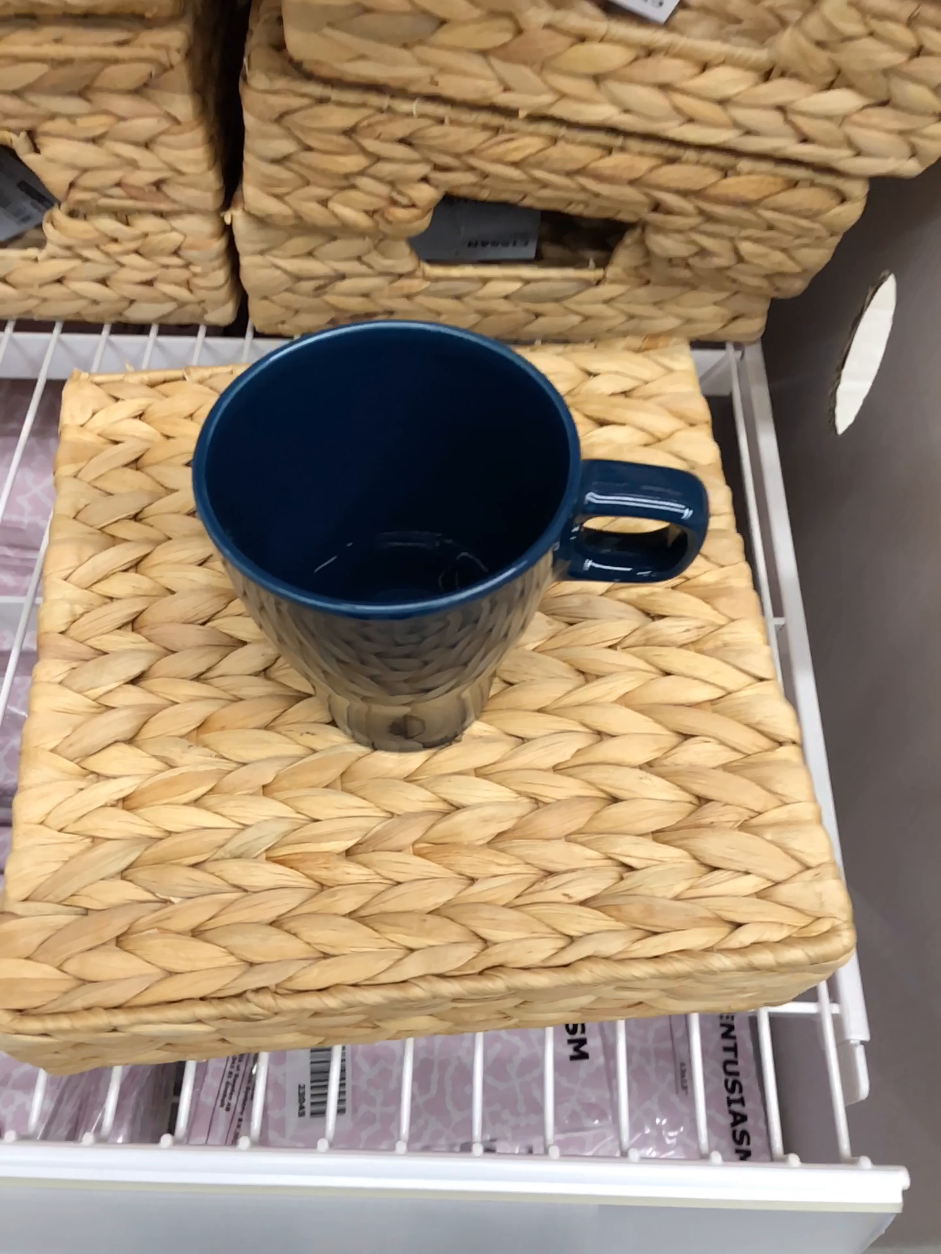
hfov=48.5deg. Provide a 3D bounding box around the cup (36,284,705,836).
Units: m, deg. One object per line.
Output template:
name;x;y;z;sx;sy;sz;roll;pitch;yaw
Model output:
cup;-0.015;-0.012;0.246;0.120;0.090;0.080;7;59;4
